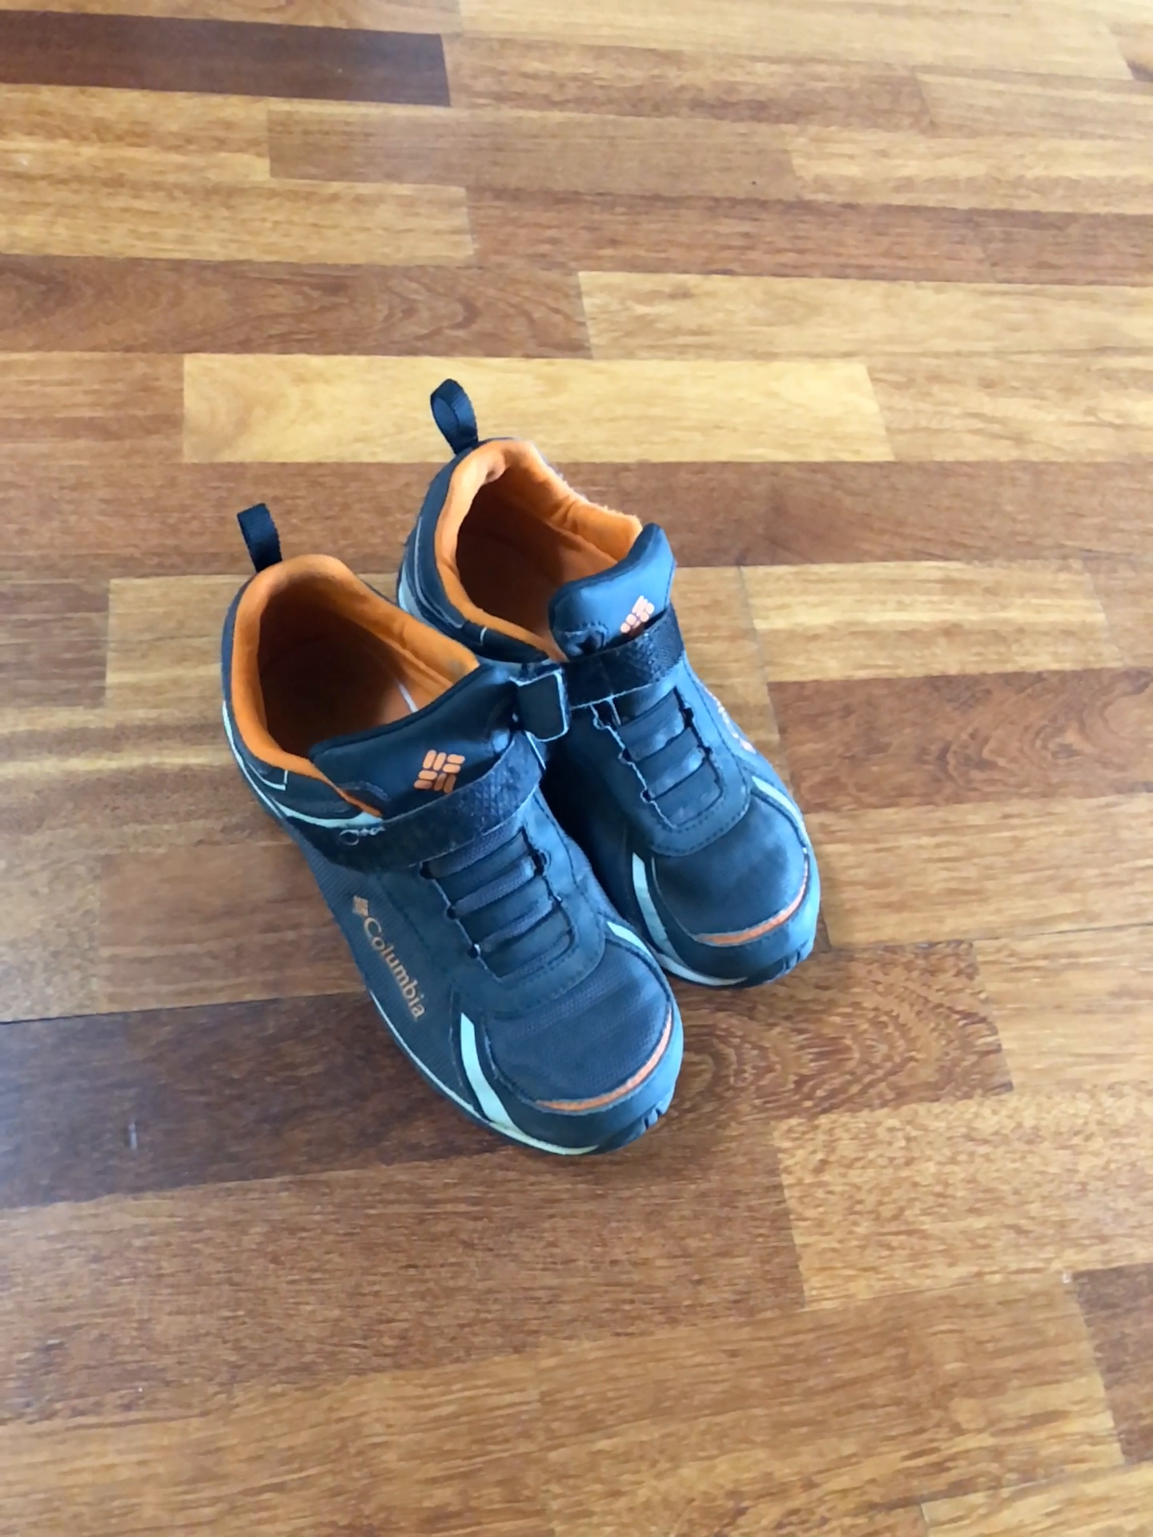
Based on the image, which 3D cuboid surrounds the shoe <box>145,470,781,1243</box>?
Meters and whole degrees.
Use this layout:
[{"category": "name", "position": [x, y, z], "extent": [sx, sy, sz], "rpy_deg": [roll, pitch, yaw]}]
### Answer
[{"category": "shoe", "position": [-0.051, 0.028, 0.465], "extent": [0.097, 0.102, 0.248], "rpy_deg": [-27, 70, -22]}]

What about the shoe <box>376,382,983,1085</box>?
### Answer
[{"category": "shoe", "position": [0.026, -0.017, 0.545], "extent": [0.112, 0.126, 0.252], "rpy_deg": [-27, 70, -22]}]
